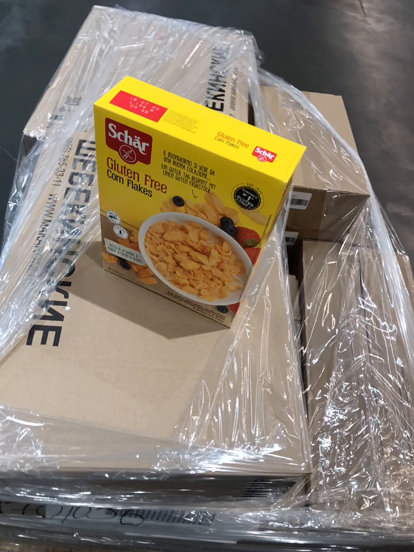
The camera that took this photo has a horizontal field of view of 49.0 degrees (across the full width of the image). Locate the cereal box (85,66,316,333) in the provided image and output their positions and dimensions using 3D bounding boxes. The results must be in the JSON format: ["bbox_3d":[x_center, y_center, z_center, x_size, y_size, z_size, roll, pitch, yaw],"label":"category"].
[{"bbox_3d":[-0.025,-0.065,0.501,0.200,0.249,0.060,25,53,7],"label":"cereal box"}]
